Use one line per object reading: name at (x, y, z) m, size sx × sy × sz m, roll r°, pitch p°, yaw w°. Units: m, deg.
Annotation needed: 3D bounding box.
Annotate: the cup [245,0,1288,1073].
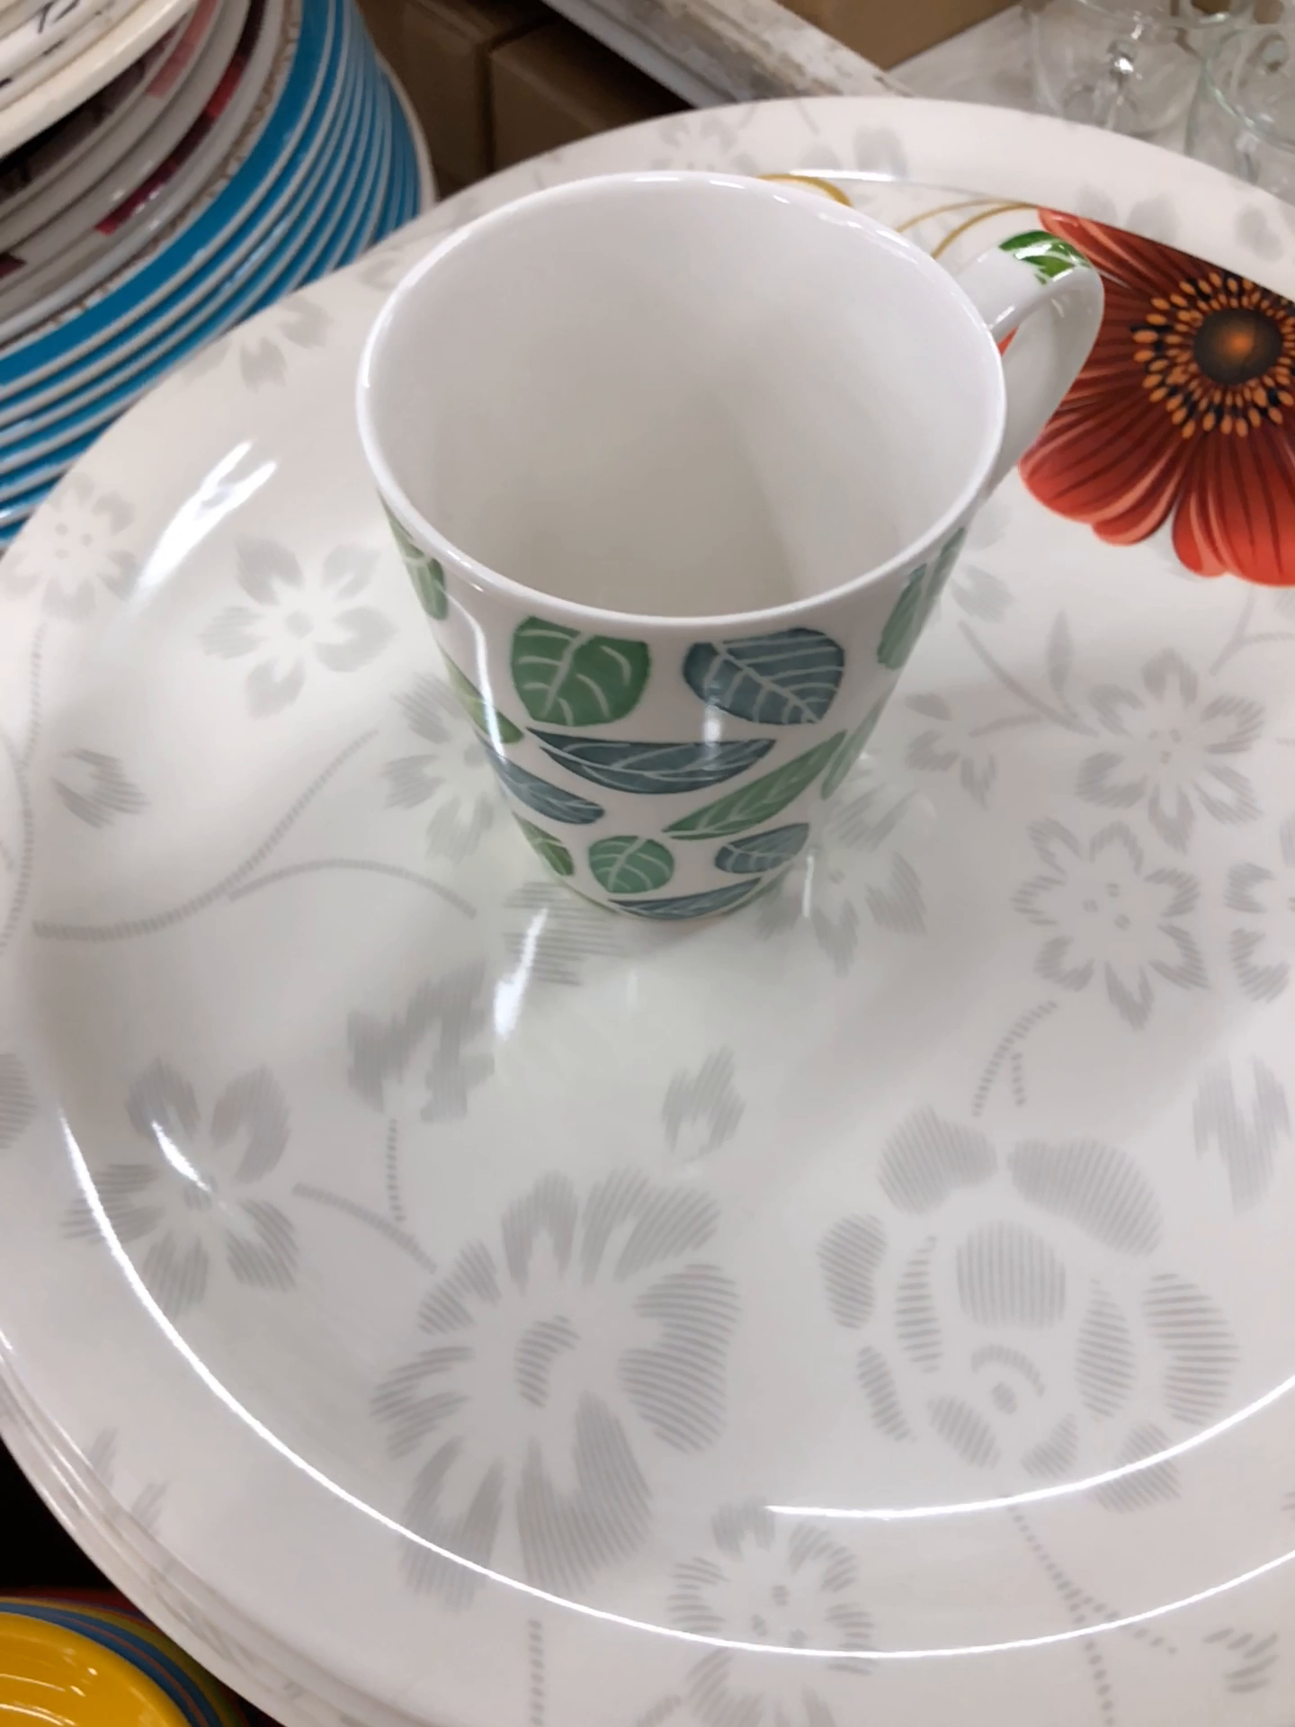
cup at (0.017, -0.052, 0.248) m, size 0.120 × 0.119 × 0.080 m, roll -39°, pitch 69°, yaw -21°
